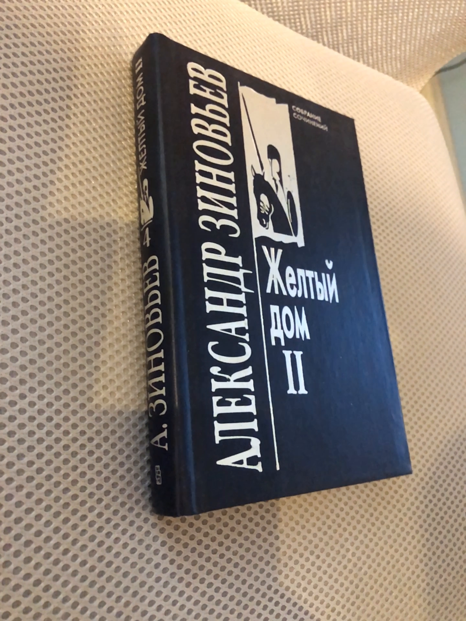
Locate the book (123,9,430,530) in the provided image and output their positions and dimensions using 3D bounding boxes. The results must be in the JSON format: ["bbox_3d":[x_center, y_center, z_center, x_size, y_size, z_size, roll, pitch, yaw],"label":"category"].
[{"bbox_3d":[0.022,-0.020,0.250,0.141,0.030,0.211,6,72,-36],"label":"book"}]
